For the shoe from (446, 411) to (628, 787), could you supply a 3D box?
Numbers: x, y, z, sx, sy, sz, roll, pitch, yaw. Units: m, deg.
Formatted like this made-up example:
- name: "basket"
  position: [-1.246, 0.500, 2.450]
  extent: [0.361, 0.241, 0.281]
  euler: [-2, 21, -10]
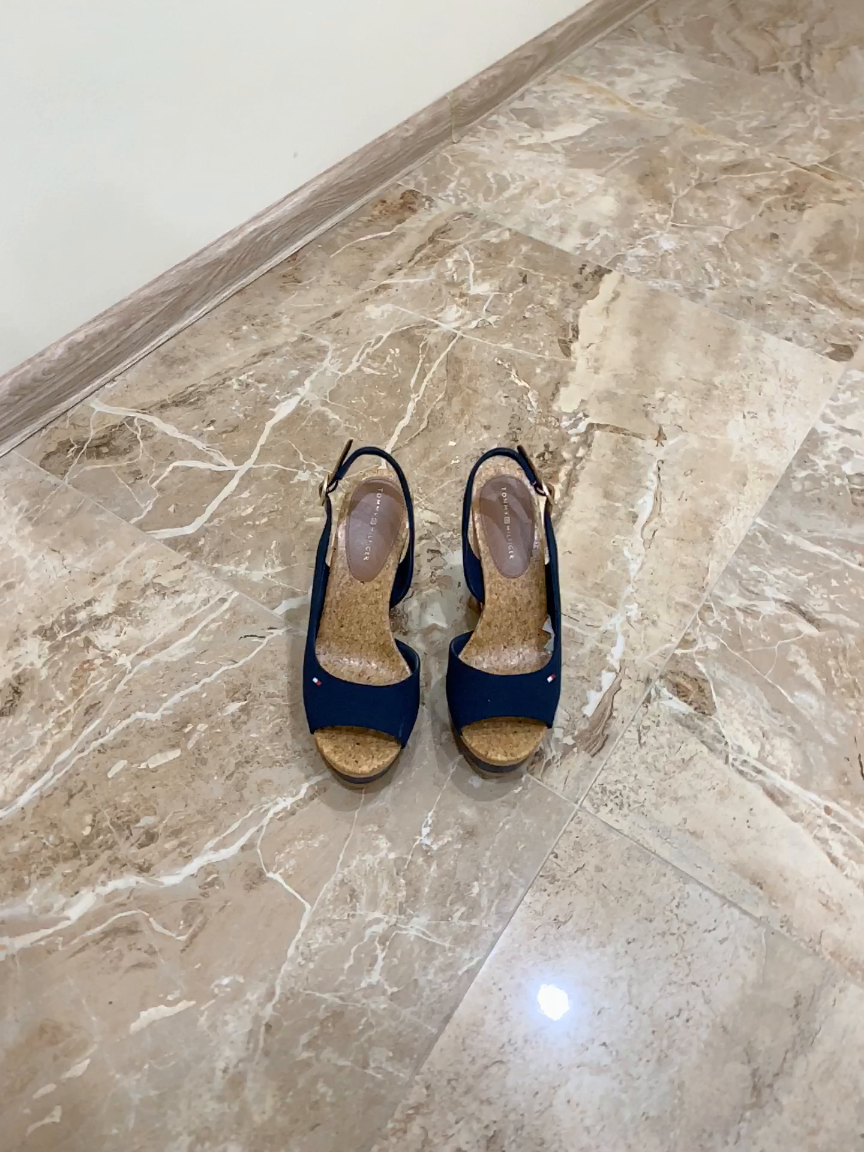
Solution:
- name: "shoe"
  position: [0.060, 0.014, 0.608]
  extent: [0.090, 0.145, 0.211]
  euler: [2, 52, -2]

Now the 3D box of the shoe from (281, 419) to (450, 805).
- name: "shoe"
  position: [-0.039, 0.023, 0.592]
  extent: [0.090, 0.145, 0.211]
  euler: [2, 52, -2]
